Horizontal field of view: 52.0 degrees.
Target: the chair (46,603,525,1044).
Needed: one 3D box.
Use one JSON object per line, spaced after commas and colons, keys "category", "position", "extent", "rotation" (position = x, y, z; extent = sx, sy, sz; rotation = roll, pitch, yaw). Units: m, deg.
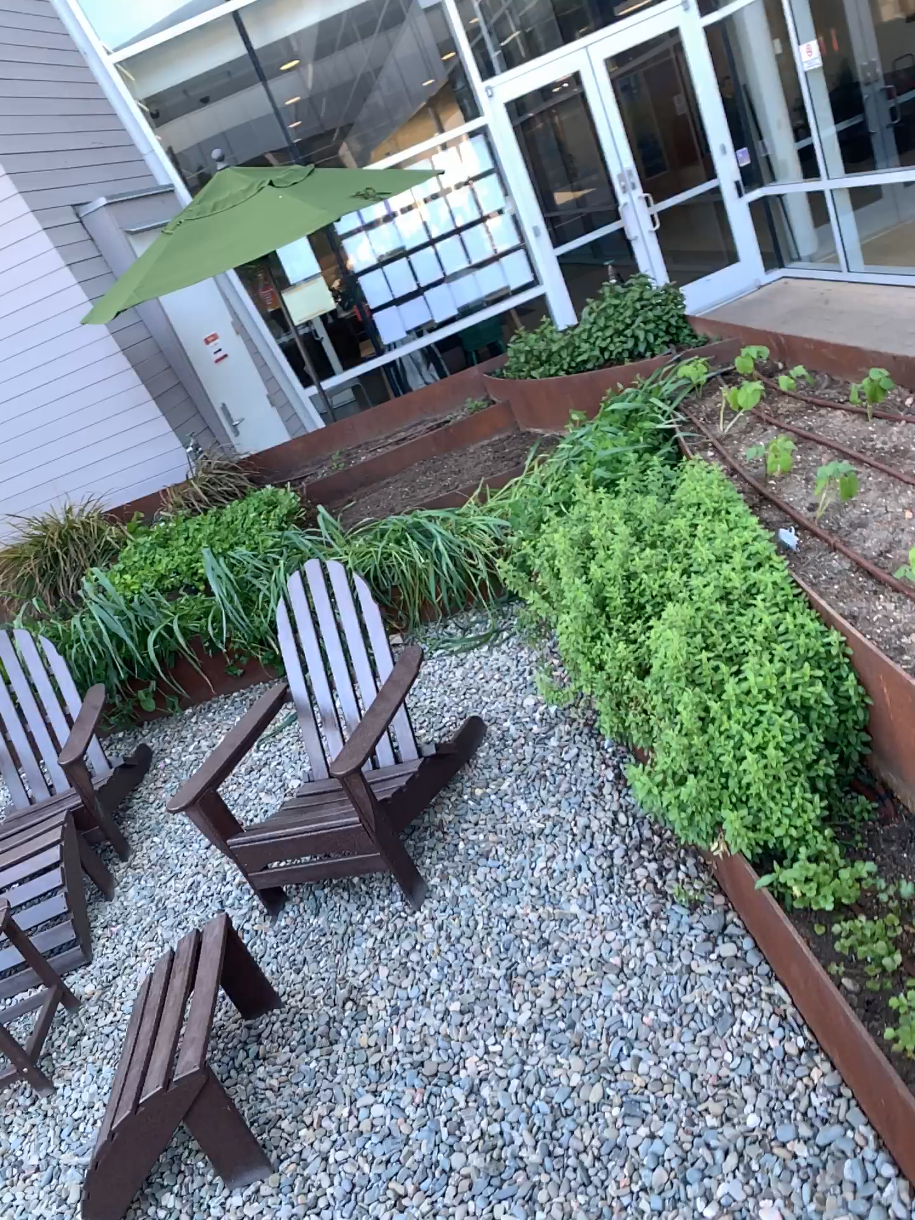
{"category": "chair", "position": [-0.557, 0.704, 3.382], "extent": [1.003, 0.994, 1.003], "rotation": [-6, 28, 36]}
